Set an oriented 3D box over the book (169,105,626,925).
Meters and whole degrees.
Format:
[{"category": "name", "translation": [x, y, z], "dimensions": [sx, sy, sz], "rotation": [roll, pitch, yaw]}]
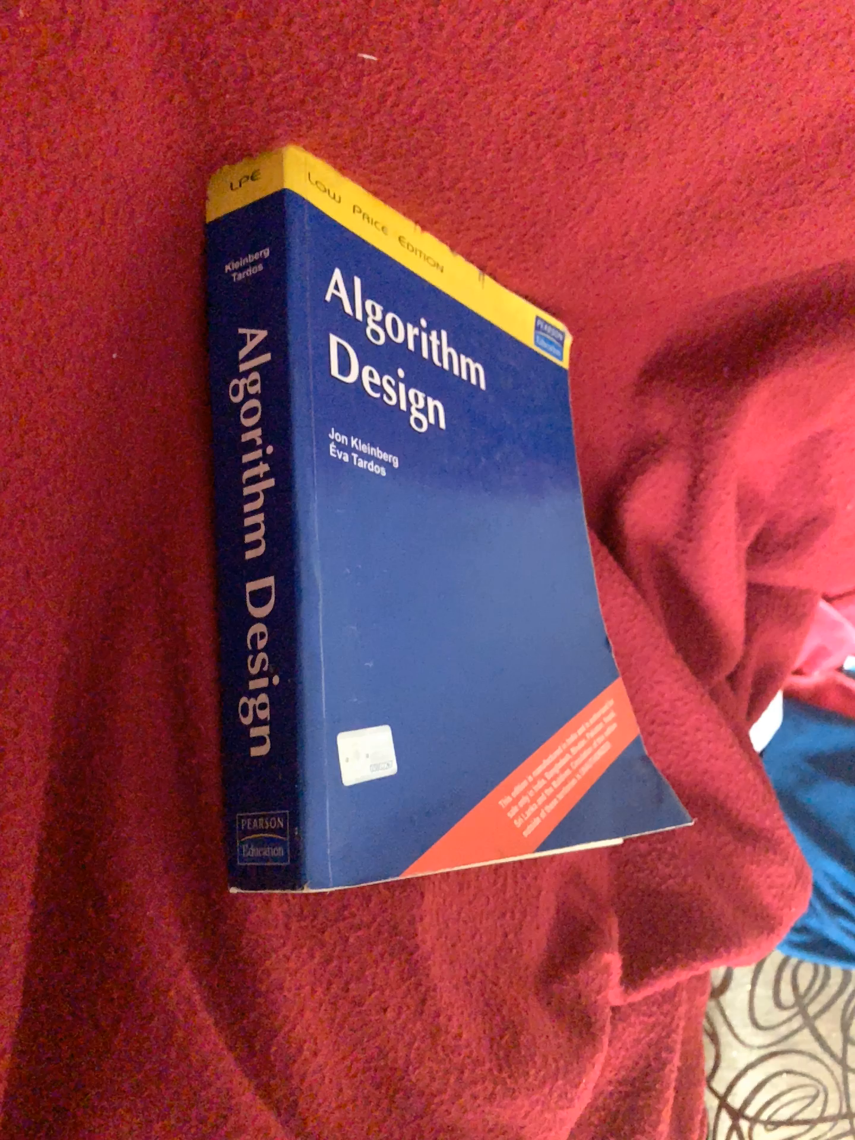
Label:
[{"category": "book", "translation": [-0.004, -0.010, 0.353], "dimensions": [0.191, 0.060, 0.250], "rotation": [13, 68, -53]}]
